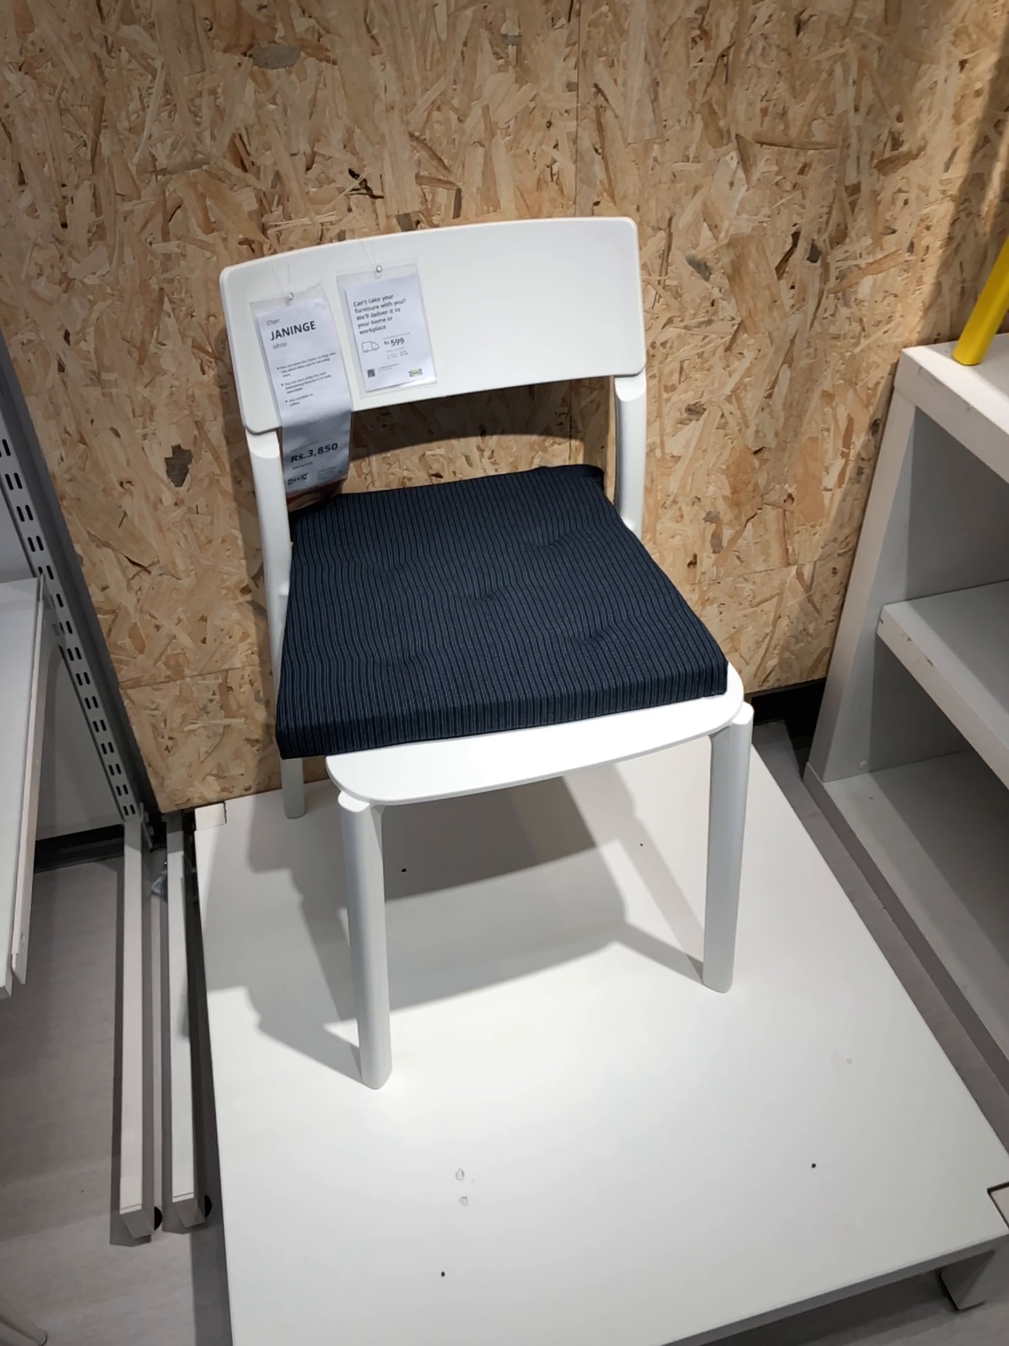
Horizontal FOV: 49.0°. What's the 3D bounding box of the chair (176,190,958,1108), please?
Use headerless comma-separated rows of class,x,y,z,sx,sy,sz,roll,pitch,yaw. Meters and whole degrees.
chair,0.011,-0.021,1.090,0.490,0.685,0.463,-11,42,-11
